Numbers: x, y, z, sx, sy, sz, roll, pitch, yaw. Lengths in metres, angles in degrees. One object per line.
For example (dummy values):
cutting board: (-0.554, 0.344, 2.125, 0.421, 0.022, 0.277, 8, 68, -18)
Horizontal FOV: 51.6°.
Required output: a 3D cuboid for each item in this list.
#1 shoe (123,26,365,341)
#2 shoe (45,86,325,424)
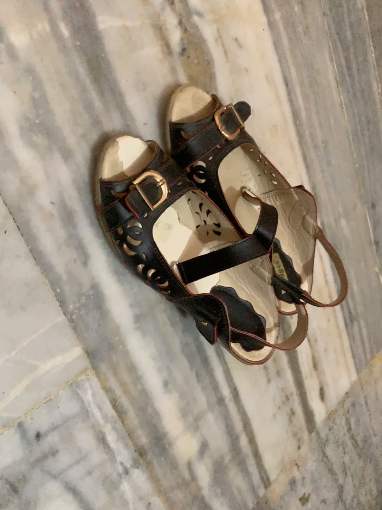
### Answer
shoe: (0.064, -0.052, 0.386, 0.100, 0.100, 0.261, -45, 118, -26)
shoe: (0.008, 0.012, 0.349, 0.100, 0.100, 0.261, -45, 118, -26)
